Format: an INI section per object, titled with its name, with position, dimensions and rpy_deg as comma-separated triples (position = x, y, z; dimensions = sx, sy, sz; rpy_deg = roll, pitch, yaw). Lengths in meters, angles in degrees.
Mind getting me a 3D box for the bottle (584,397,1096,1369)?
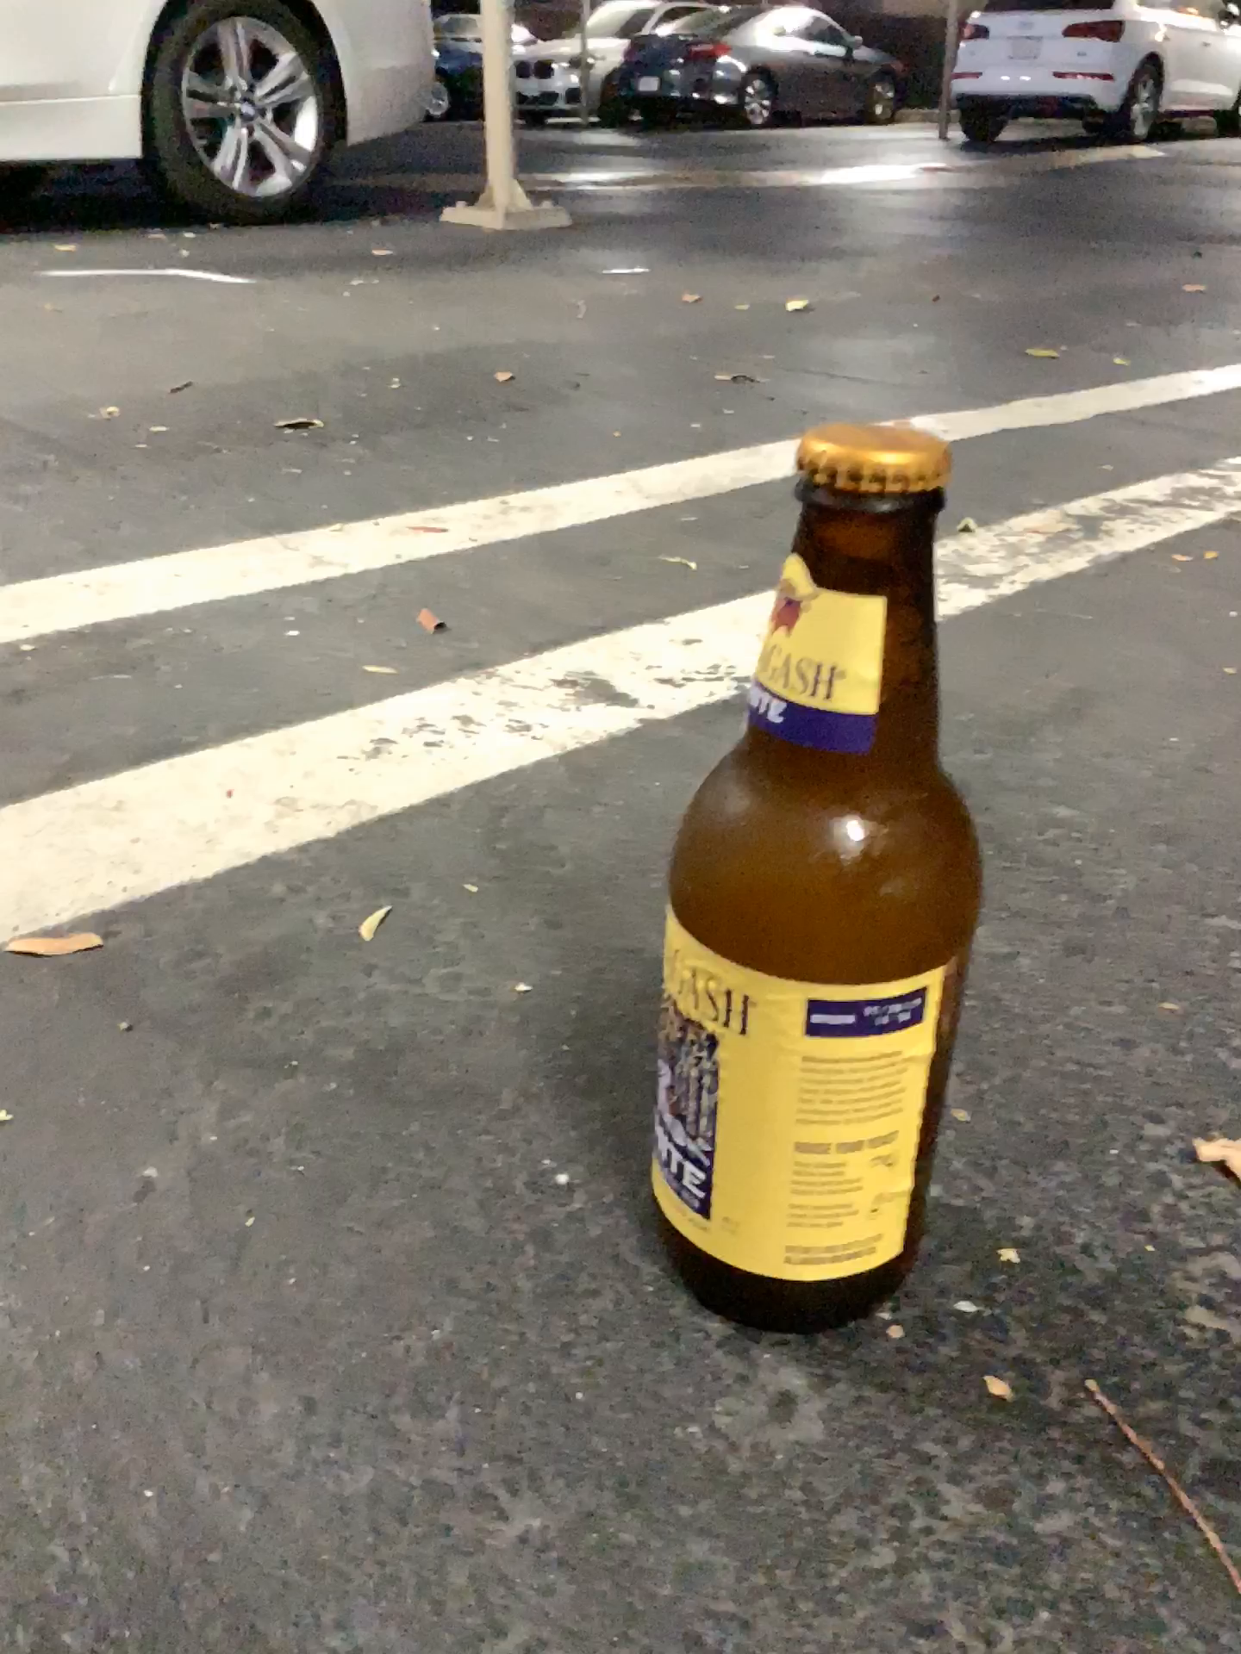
[bottle]
position = 0.036, 0.014, 0.296
dimensions = 0.070, 0.190, 0.070
rpy_deg = 0, 28, 0
